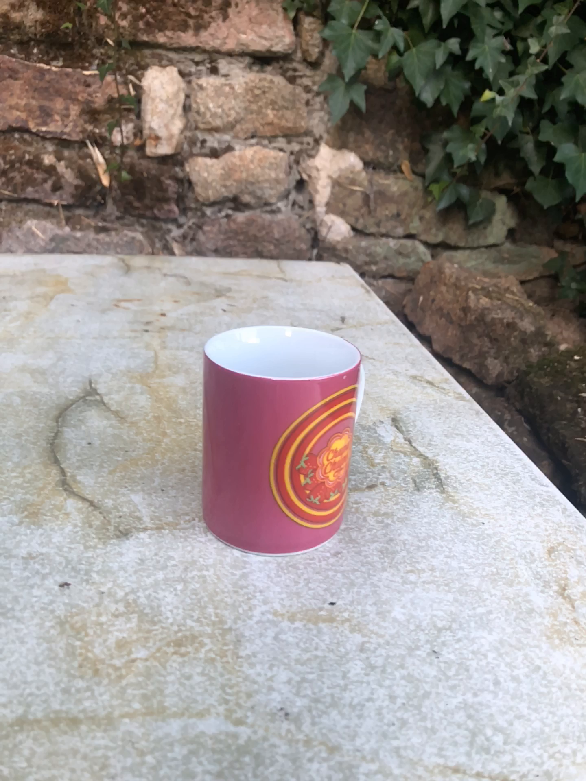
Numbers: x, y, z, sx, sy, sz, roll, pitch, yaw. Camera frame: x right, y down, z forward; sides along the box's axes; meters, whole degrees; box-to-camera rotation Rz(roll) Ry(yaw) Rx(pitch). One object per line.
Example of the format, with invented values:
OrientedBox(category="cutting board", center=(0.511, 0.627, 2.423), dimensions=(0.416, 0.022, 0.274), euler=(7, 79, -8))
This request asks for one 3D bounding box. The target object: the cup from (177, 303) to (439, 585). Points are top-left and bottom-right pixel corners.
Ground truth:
OrientedBox(category="cup", center=(0.010, 0.018, 0.334), dimensions=(0.076, 0.089, 0.116), euler=(18, 28, 31))
